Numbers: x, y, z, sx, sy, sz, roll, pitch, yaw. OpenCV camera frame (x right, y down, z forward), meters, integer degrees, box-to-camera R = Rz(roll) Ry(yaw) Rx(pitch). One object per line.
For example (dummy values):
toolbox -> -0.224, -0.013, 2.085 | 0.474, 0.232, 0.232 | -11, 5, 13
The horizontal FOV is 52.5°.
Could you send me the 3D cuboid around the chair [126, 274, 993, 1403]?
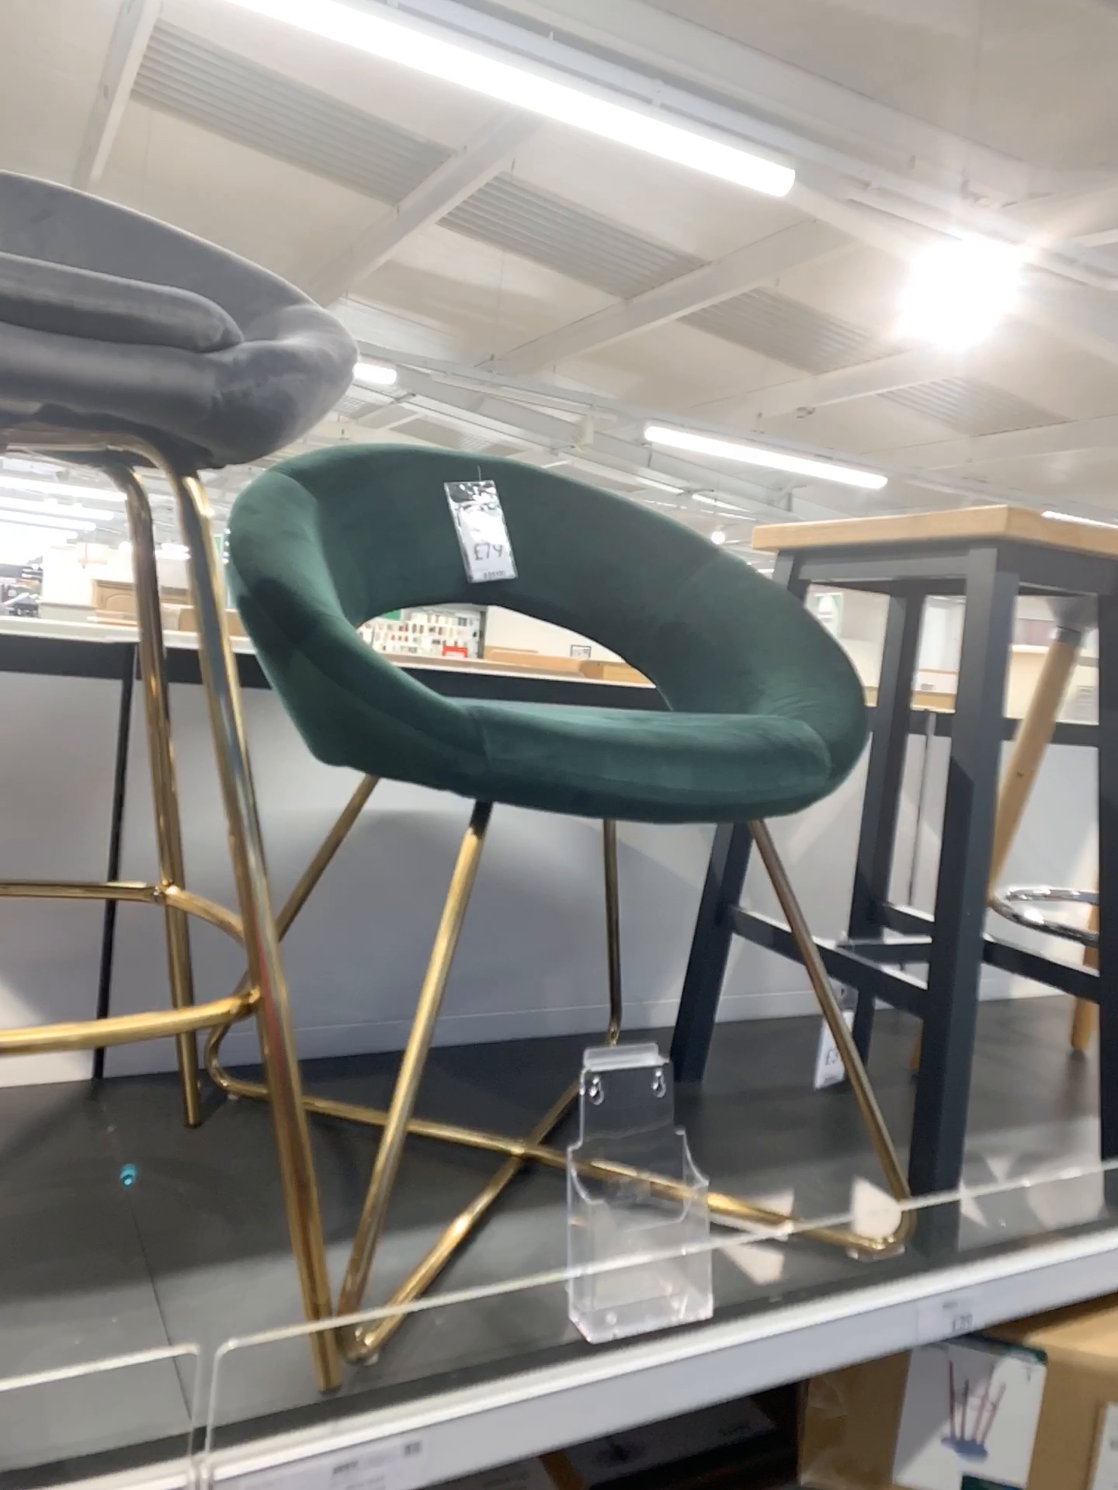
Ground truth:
chair -> -0.040, 0.056, 1.167 | 0.629, 0.776, 0.555 | 4, 4, -30
